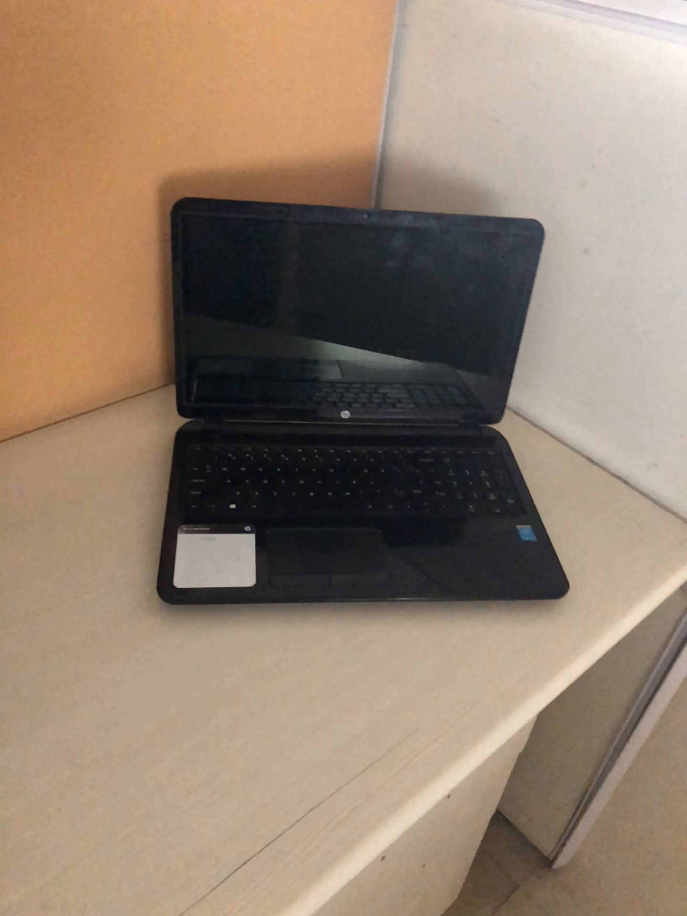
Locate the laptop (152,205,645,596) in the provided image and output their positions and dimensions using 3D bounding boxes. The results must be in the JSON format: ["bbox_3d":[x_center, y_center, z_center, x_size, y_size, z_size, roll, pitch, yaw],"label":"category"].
[{"bbox_3d":[0.025,-0.057,0.692,0.350,0.225,0.267,1,39,-8],"label":"laptop"}]
